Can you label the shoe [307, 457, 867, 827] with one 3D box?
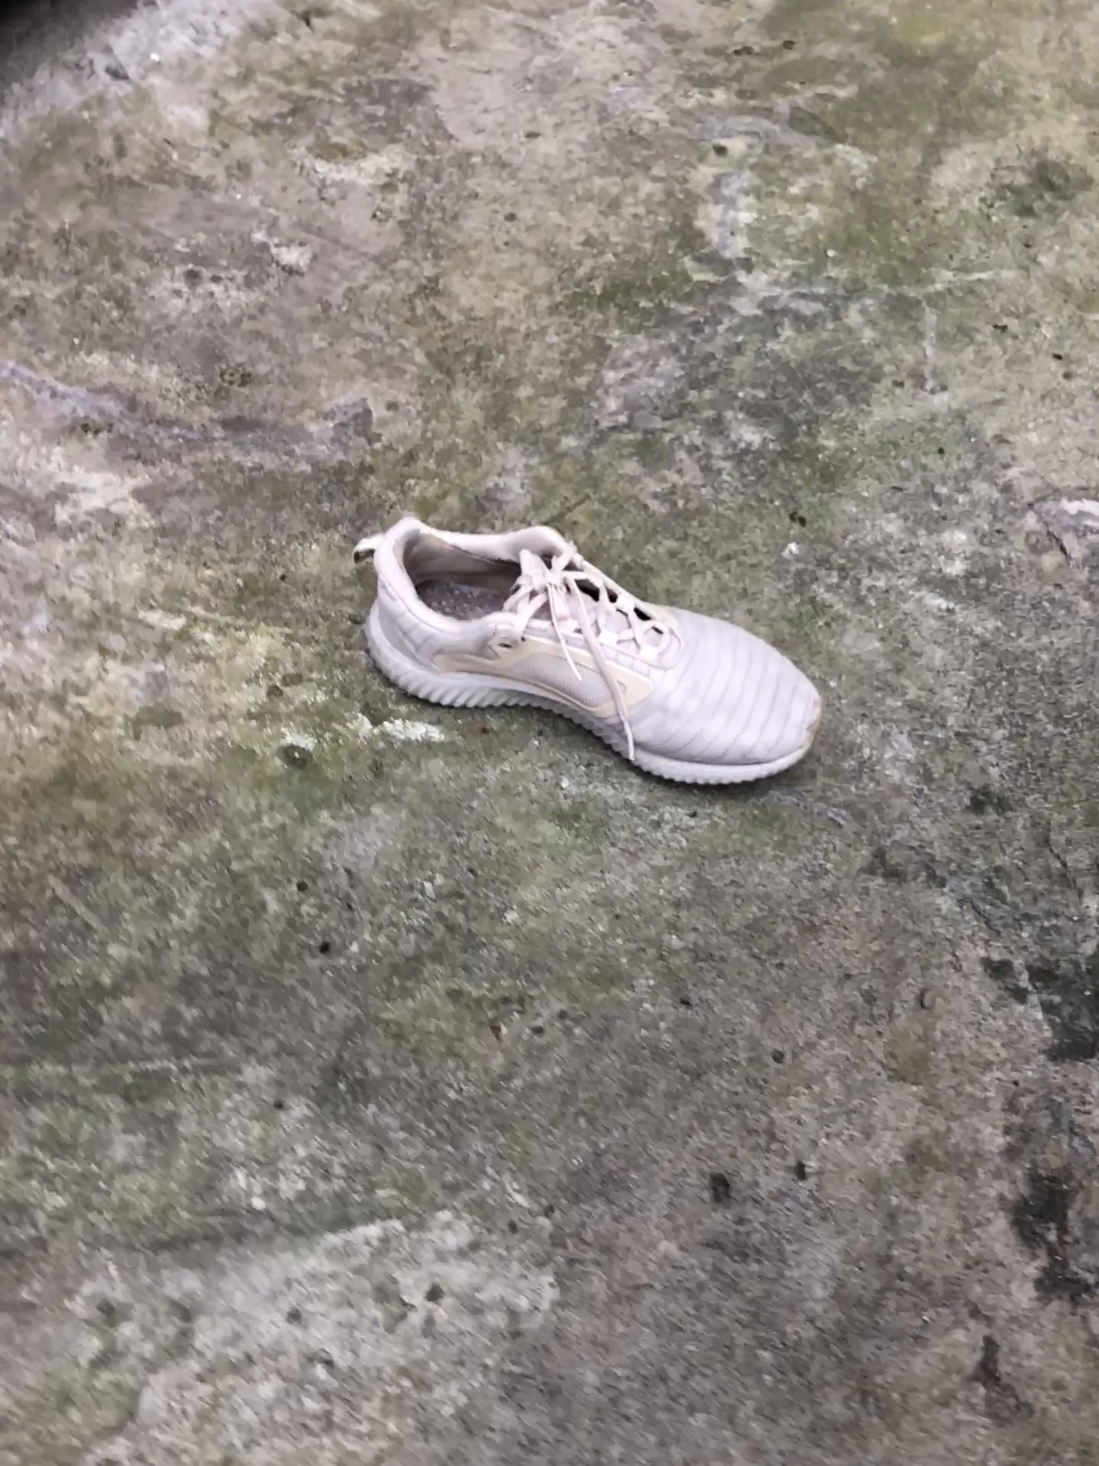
[{"bbox_3d":[0.024,-0.060,0.741,0.300,0.109,0.121,15,58,15],"label":"shoe"}]
